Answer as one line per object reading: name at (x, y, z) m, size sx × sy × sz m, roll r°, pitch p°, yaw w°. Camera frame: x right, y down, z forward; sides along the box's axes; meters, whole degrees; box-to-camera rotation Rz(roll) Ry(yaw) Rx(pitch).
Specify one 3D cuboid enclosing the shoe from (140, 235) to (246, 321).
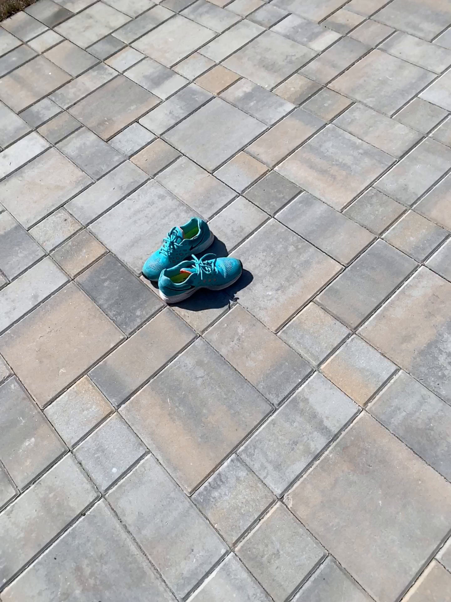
shoe at (-0.096, -0.067, 1.358) m, size 0.270 × 0.100 × 0.130 m, roll -23°, pitch 59°, yaw 1°

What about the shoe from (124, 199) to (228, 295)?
shoe at (-0.142, -0.163, 1.375) m, size 0.270 × 0.100 × 0.130 m, roll -37°, pitch 61°, yaw -14°
